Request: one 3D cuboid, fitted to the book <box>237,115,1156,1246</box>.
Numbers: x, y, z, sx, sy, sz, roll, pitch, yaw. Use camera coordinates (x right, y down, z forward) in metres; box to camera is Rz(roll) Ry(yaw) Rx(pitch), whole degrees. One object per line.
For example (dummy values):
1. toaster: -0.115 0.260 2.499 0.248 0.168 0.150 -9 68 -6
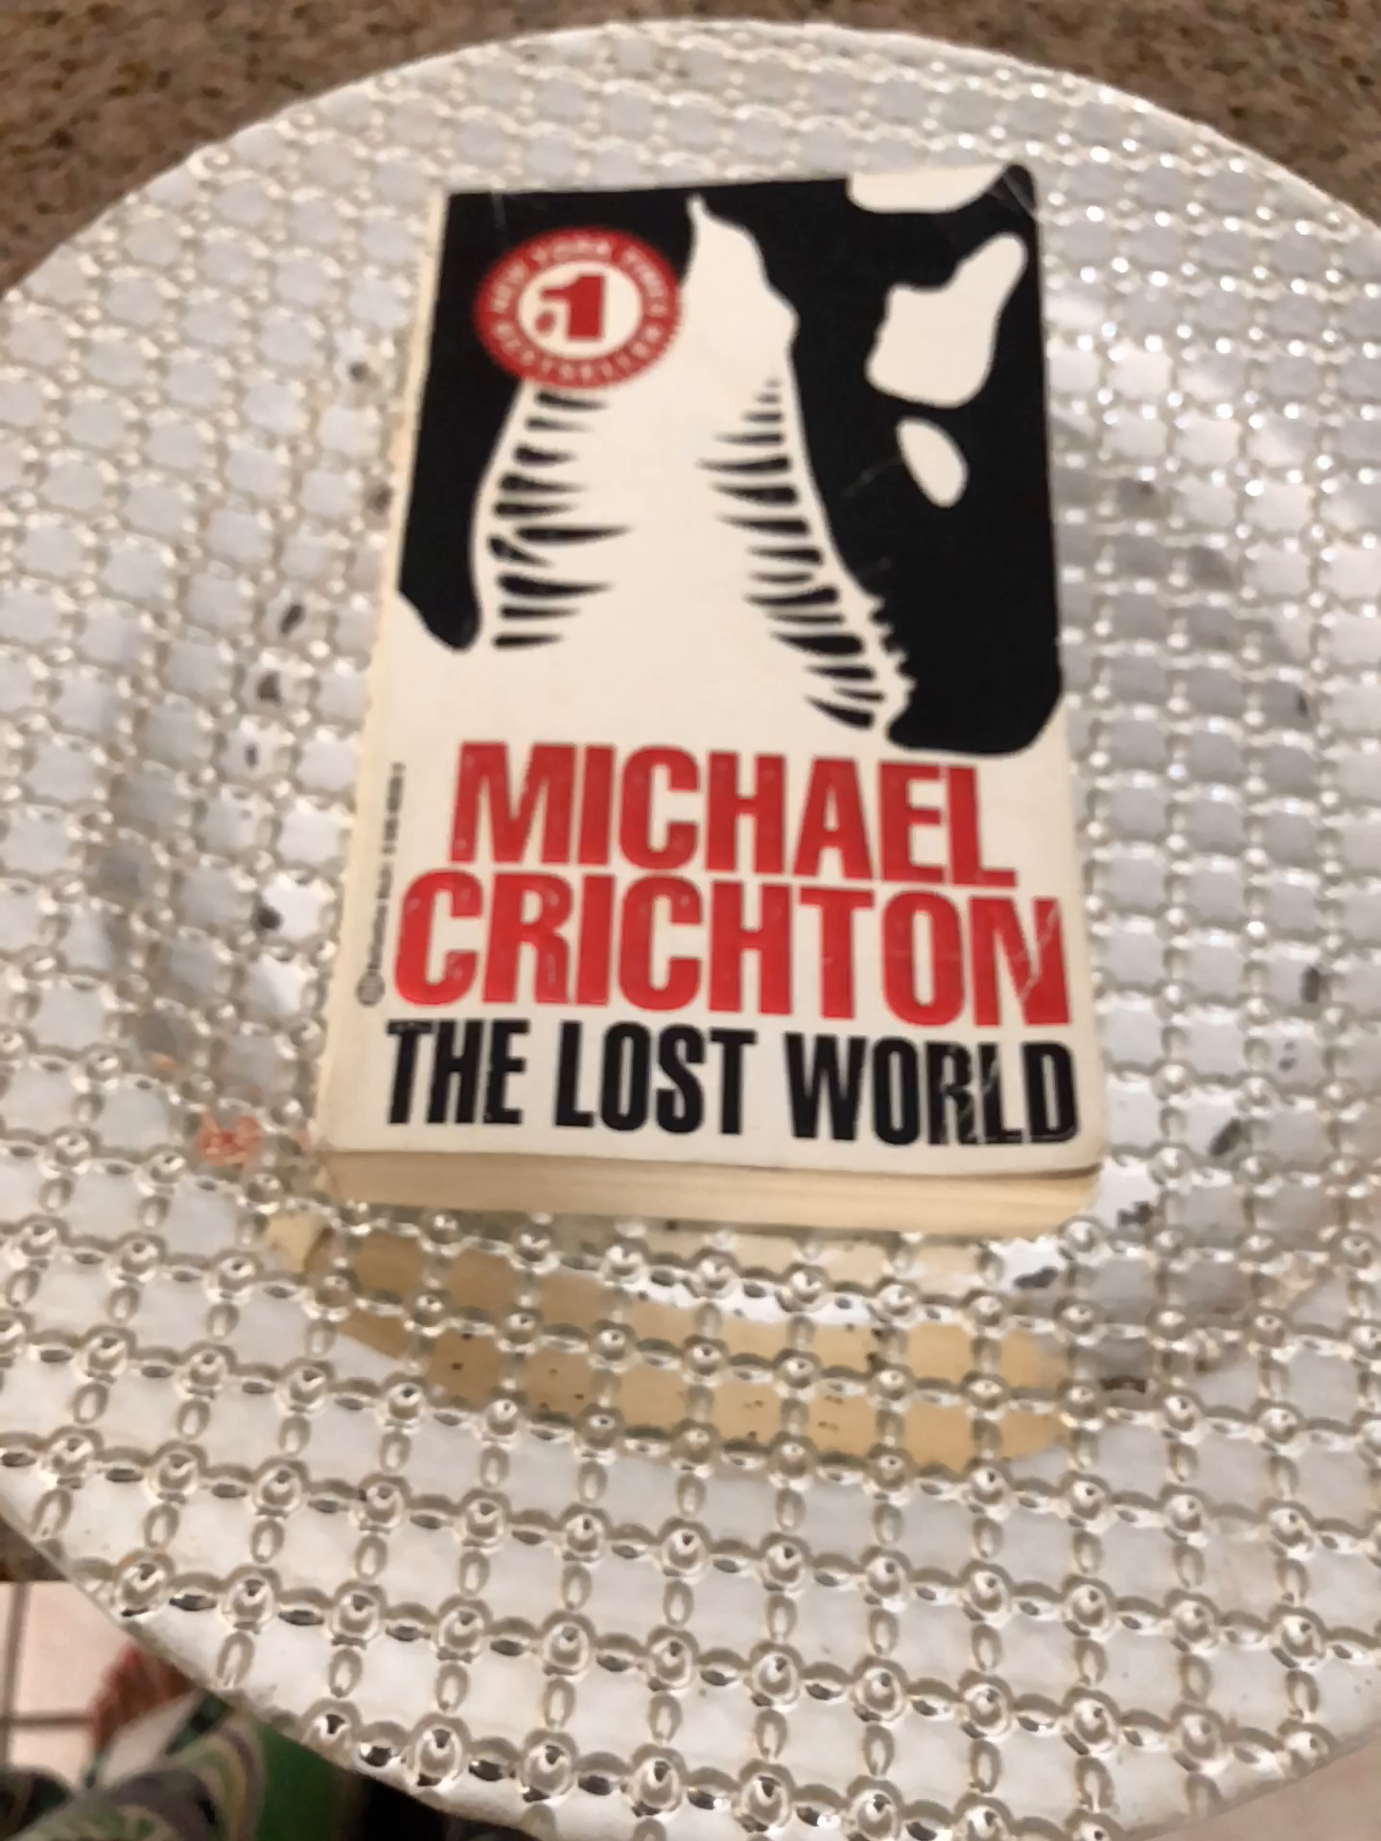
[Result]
1. book: 0.004 -0.045 0.258 0.118 0.040 0.183 3 66 -2
